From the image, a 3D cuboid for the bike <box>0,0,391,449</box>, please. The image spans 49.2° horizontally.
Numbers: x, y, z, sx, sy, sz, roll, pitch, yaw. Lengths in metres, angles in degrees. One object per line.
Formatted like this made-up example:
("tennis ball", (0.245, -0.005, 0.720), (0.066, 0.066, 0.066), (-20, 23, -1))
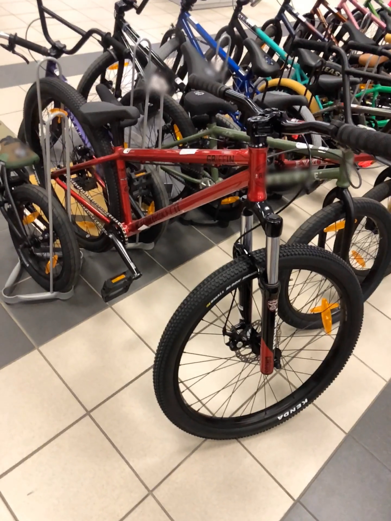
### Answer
("bike", (-0.138, -0.289, 1.331), (1.338, 0.998, 0.714), (33, 46, 21))
